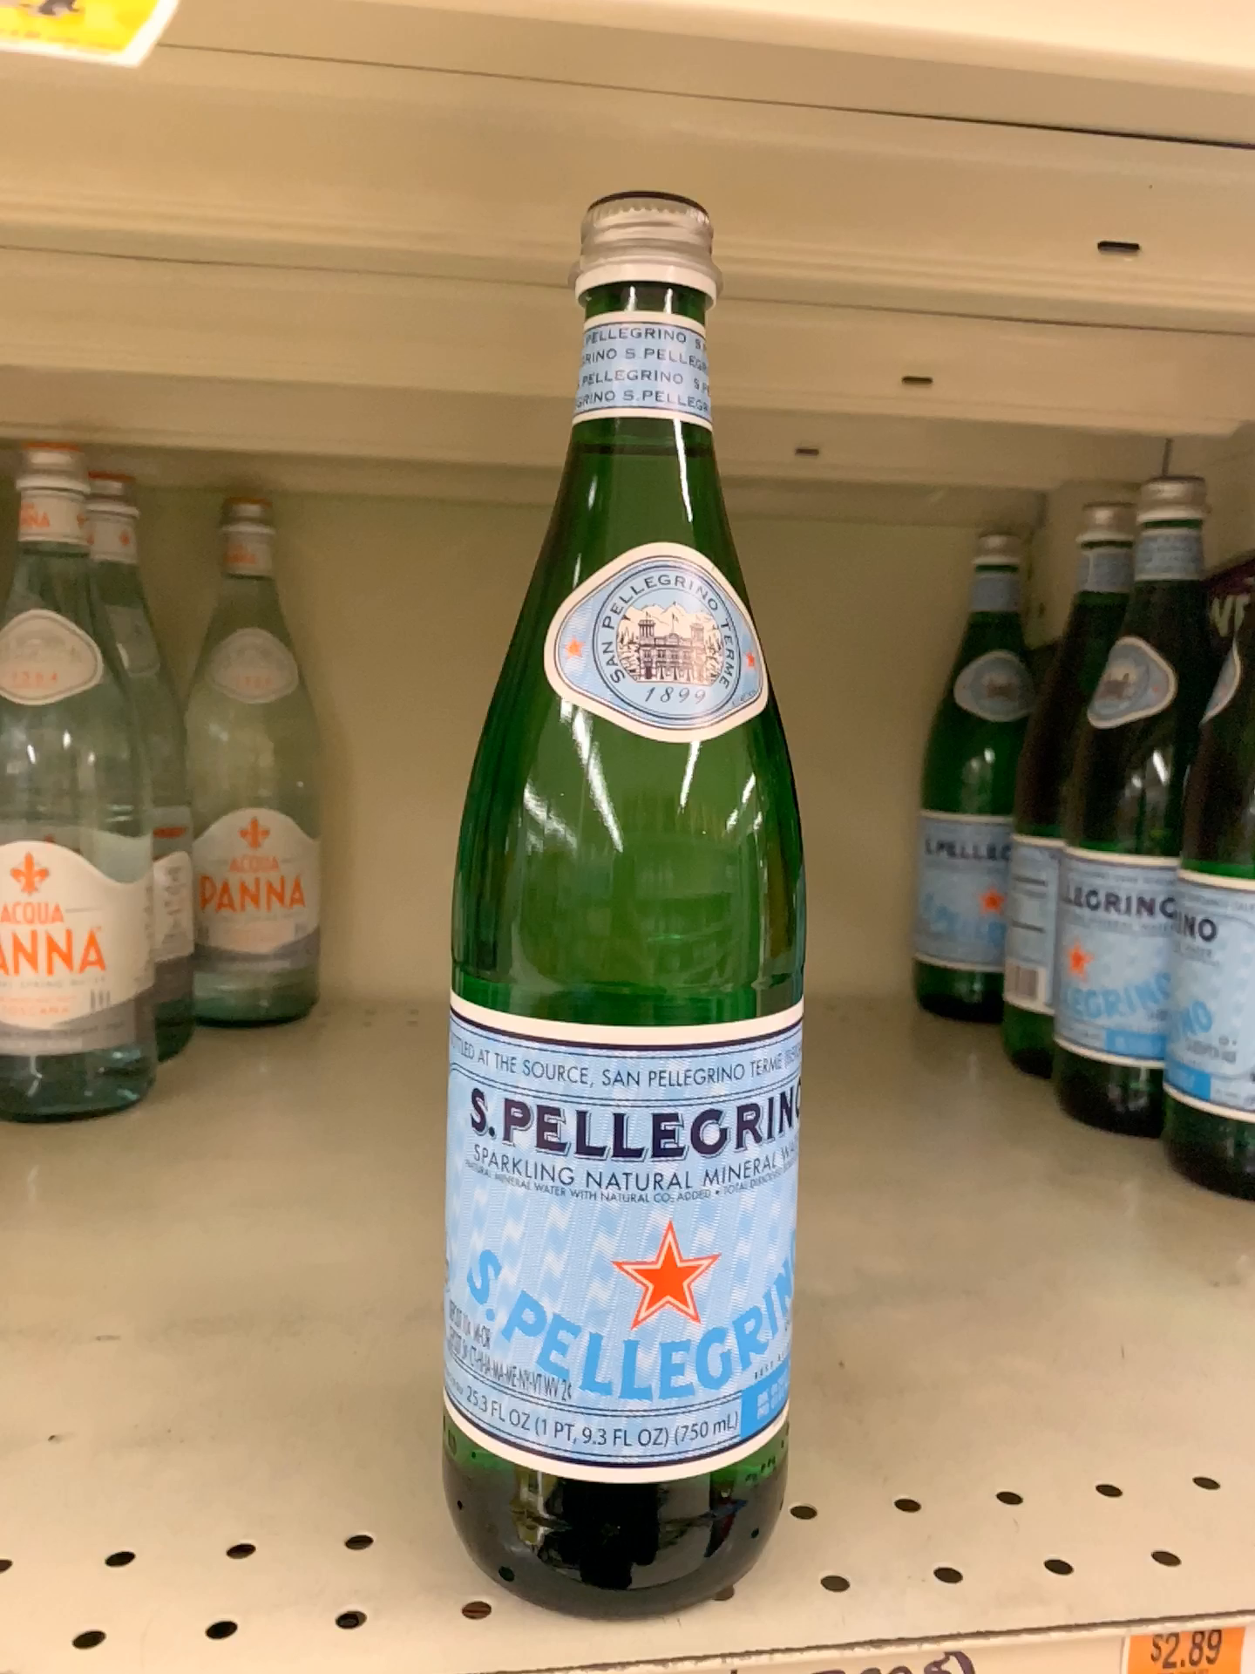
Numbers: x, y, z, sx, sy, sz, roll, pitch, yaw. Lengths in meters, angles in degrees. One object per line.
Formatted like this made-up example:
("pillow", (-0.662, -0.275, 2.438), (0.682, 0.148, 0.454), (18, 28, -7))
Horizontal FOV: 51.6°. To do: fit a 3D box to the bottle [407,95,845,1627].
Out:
("bottle", (-0.004, 0.011, 0.287), (0.078, 0.301, 0.065), (1, 7, -2))
